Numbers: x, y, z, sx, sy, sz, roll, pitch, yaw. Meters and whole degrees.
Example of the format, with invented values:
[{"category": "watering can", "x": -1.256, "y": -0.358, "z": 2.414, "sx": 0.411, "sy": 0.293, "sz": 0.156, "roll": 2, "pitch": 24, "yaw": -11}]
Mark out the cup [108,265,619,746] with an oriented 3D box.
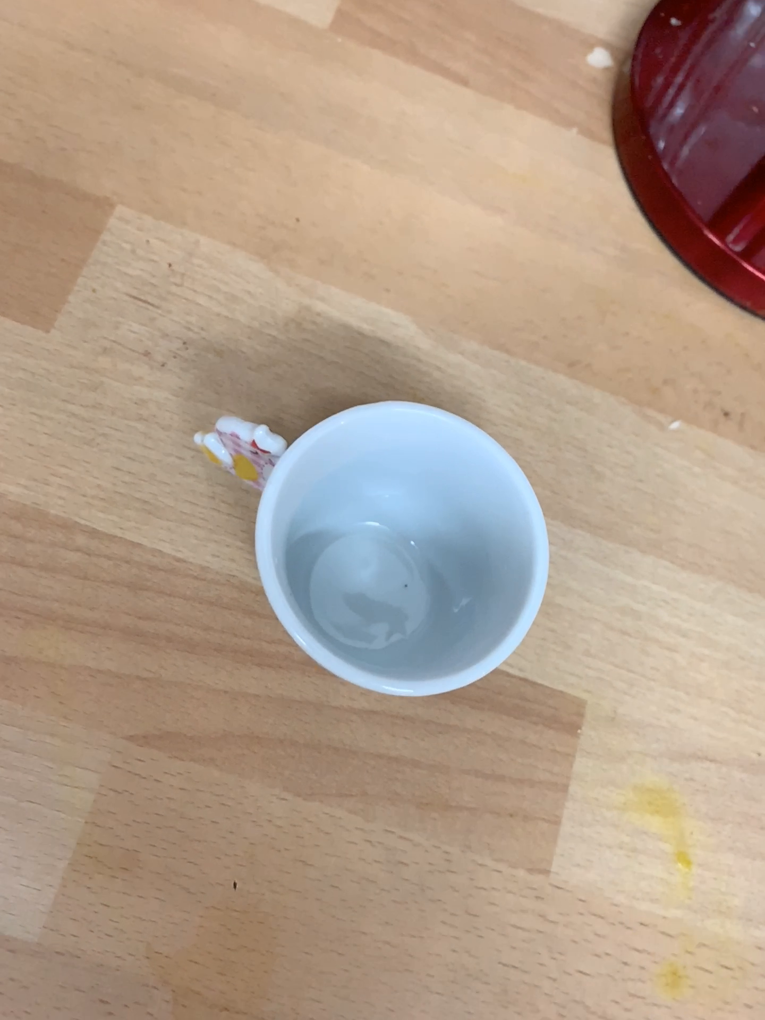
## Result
[{"category": "cup", "x": -0.005, "y": 0.003, "z": 0.178, "sx": 0.080, "sy": 0.050, "sz": 0.060, "roll": 36, "pitch": 70, "yaw": 1}]
